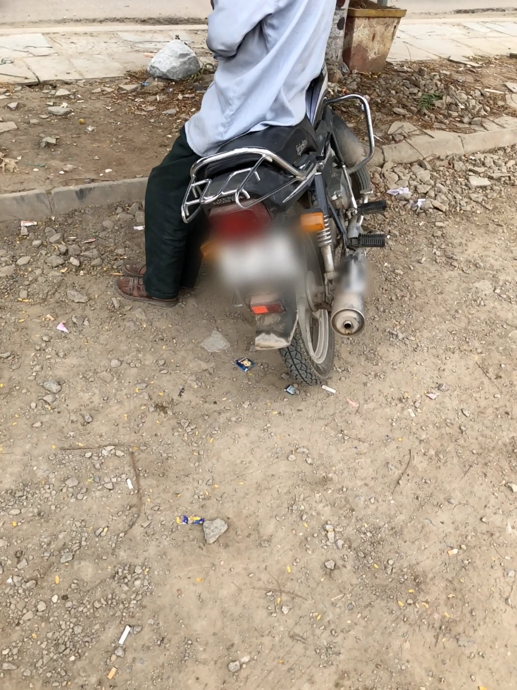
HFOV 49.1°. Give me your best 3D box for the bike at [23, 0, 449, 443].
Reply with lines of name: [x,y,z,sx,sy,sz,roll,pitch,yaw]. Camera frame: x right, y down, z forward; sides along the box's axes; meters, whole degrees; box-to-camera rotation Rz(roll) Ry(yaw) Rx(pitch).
bike: [-0.035,-0.720,1.950,0.739,1.170,1.604,5,42,0]
